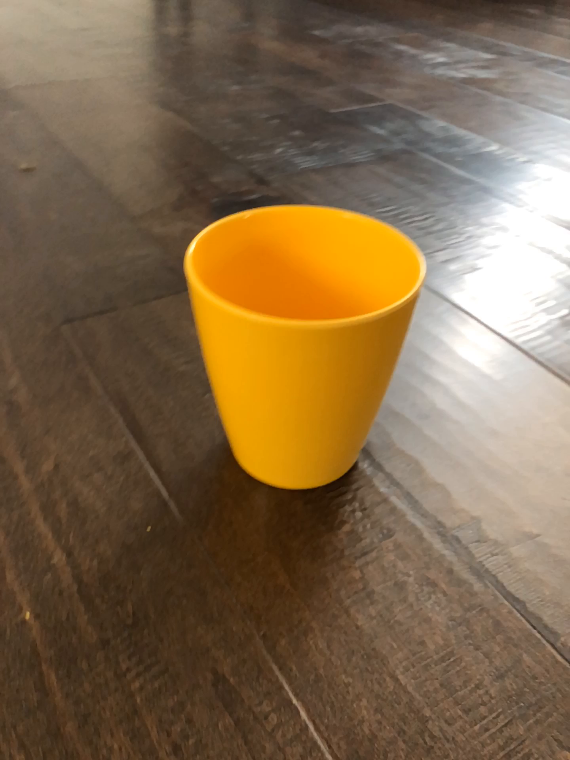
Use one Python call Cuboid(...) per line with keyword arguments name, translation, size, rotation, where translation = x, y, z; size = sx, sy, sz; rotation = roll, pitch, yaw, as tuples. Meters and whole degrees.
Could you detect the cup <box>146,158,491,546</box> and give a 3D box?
Cuboid(name="cup", translation=(0.017, -0.019, 0.270), size=(0.090, 0.099, 0.111), rotation=(20, 41, 21))
